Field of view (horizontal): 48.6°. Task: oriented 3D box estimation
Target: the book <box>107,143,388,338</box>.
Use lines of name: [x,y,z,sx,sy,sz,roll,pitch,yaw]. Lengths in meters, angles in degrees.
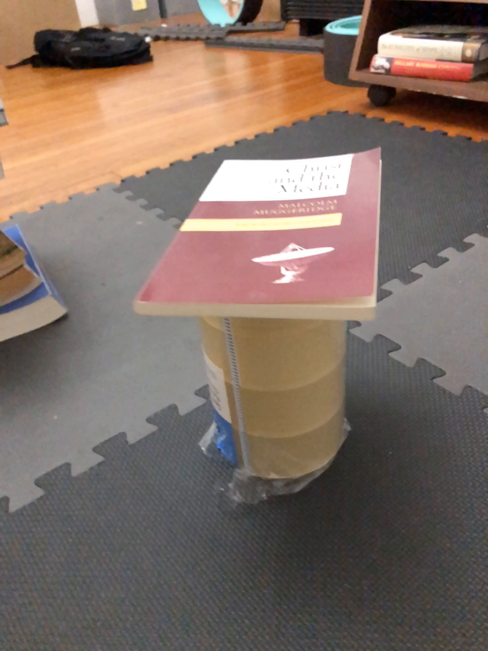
book: [0.019,-0.069,0.351,0.140,0.020,0.211,2,38,12]
